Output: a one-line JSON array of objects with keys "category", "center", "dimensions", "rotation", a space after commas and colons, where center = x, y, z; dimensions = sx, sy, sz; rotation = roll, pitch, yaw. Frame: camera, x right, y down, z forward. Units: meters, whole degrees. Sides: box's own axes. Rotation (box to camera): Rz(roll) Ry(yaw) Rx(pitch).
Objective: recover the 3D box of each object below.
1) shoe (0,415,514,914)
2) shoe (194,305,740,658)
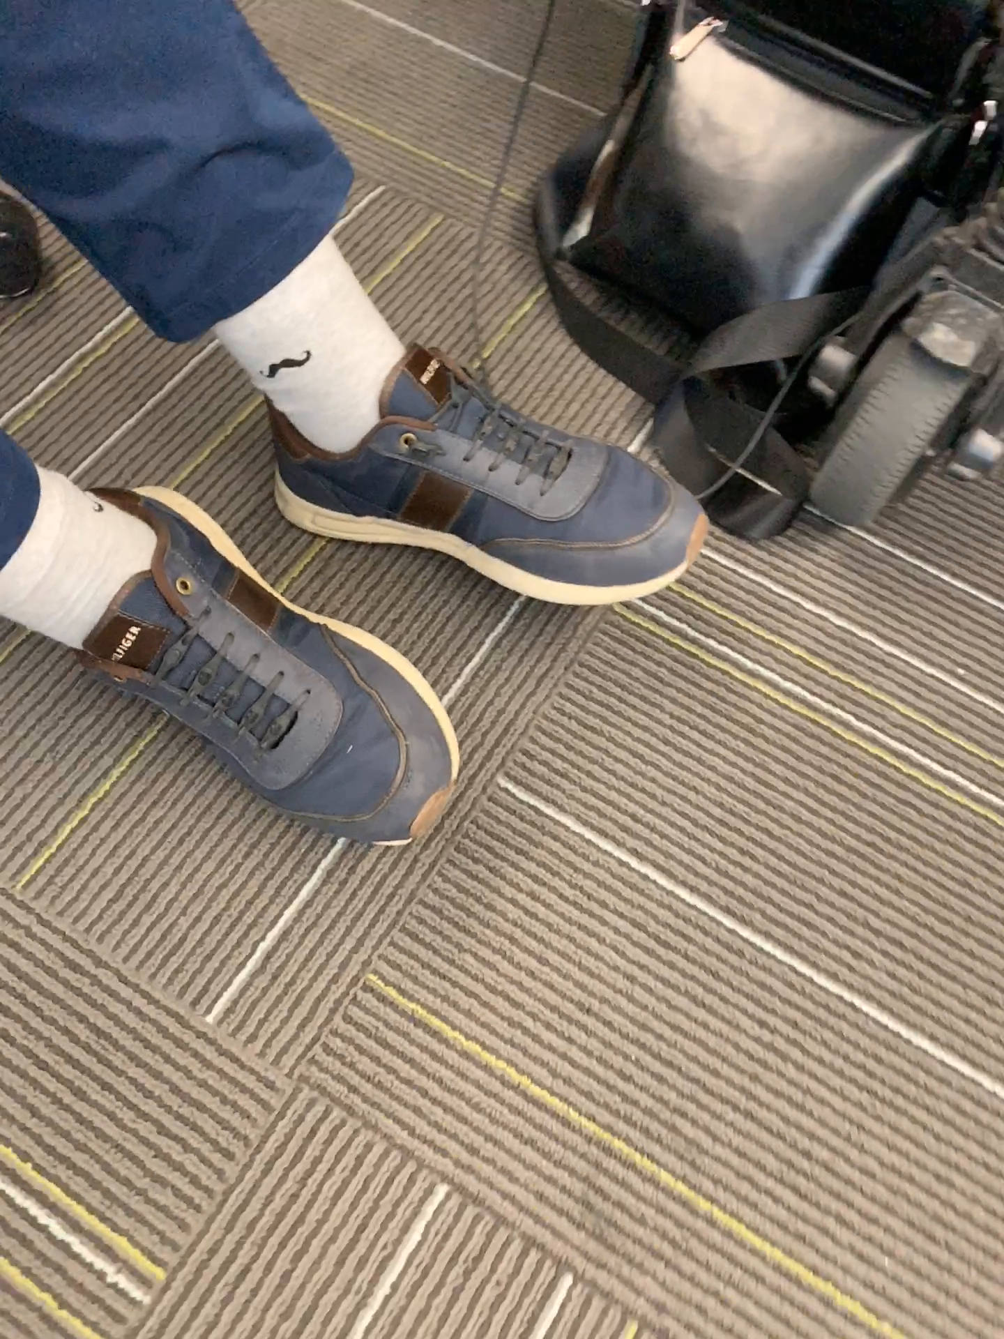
[{"category": "shoe", "center": [-0.162, -0.010, 0.595], "dimensions": [0.321, 0.100, 0.120], "rotation": [37, 95, 28]}, {"category": "shoe", "center": [-0.019, -0.123, 0.636], "dimensions": [0.300, 0.100, 0.120], "rotation": [17, 63, 21]}]
